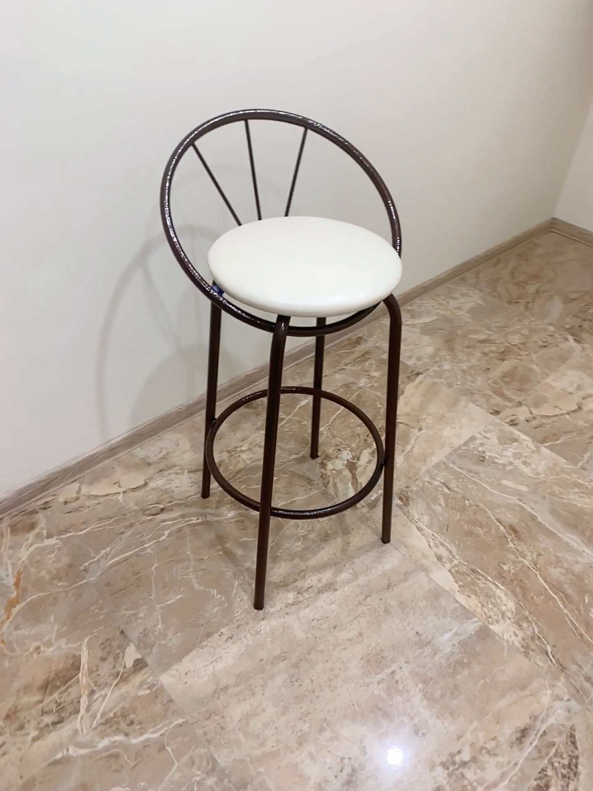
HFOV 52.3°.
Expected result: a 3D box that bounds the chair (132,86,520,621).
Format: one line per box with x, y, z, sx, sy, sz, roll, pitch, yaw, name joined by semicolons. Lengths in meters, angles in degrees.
0.010;-0.055;1.128;0.401;0.835;0.402;-20;45;-25;chair
